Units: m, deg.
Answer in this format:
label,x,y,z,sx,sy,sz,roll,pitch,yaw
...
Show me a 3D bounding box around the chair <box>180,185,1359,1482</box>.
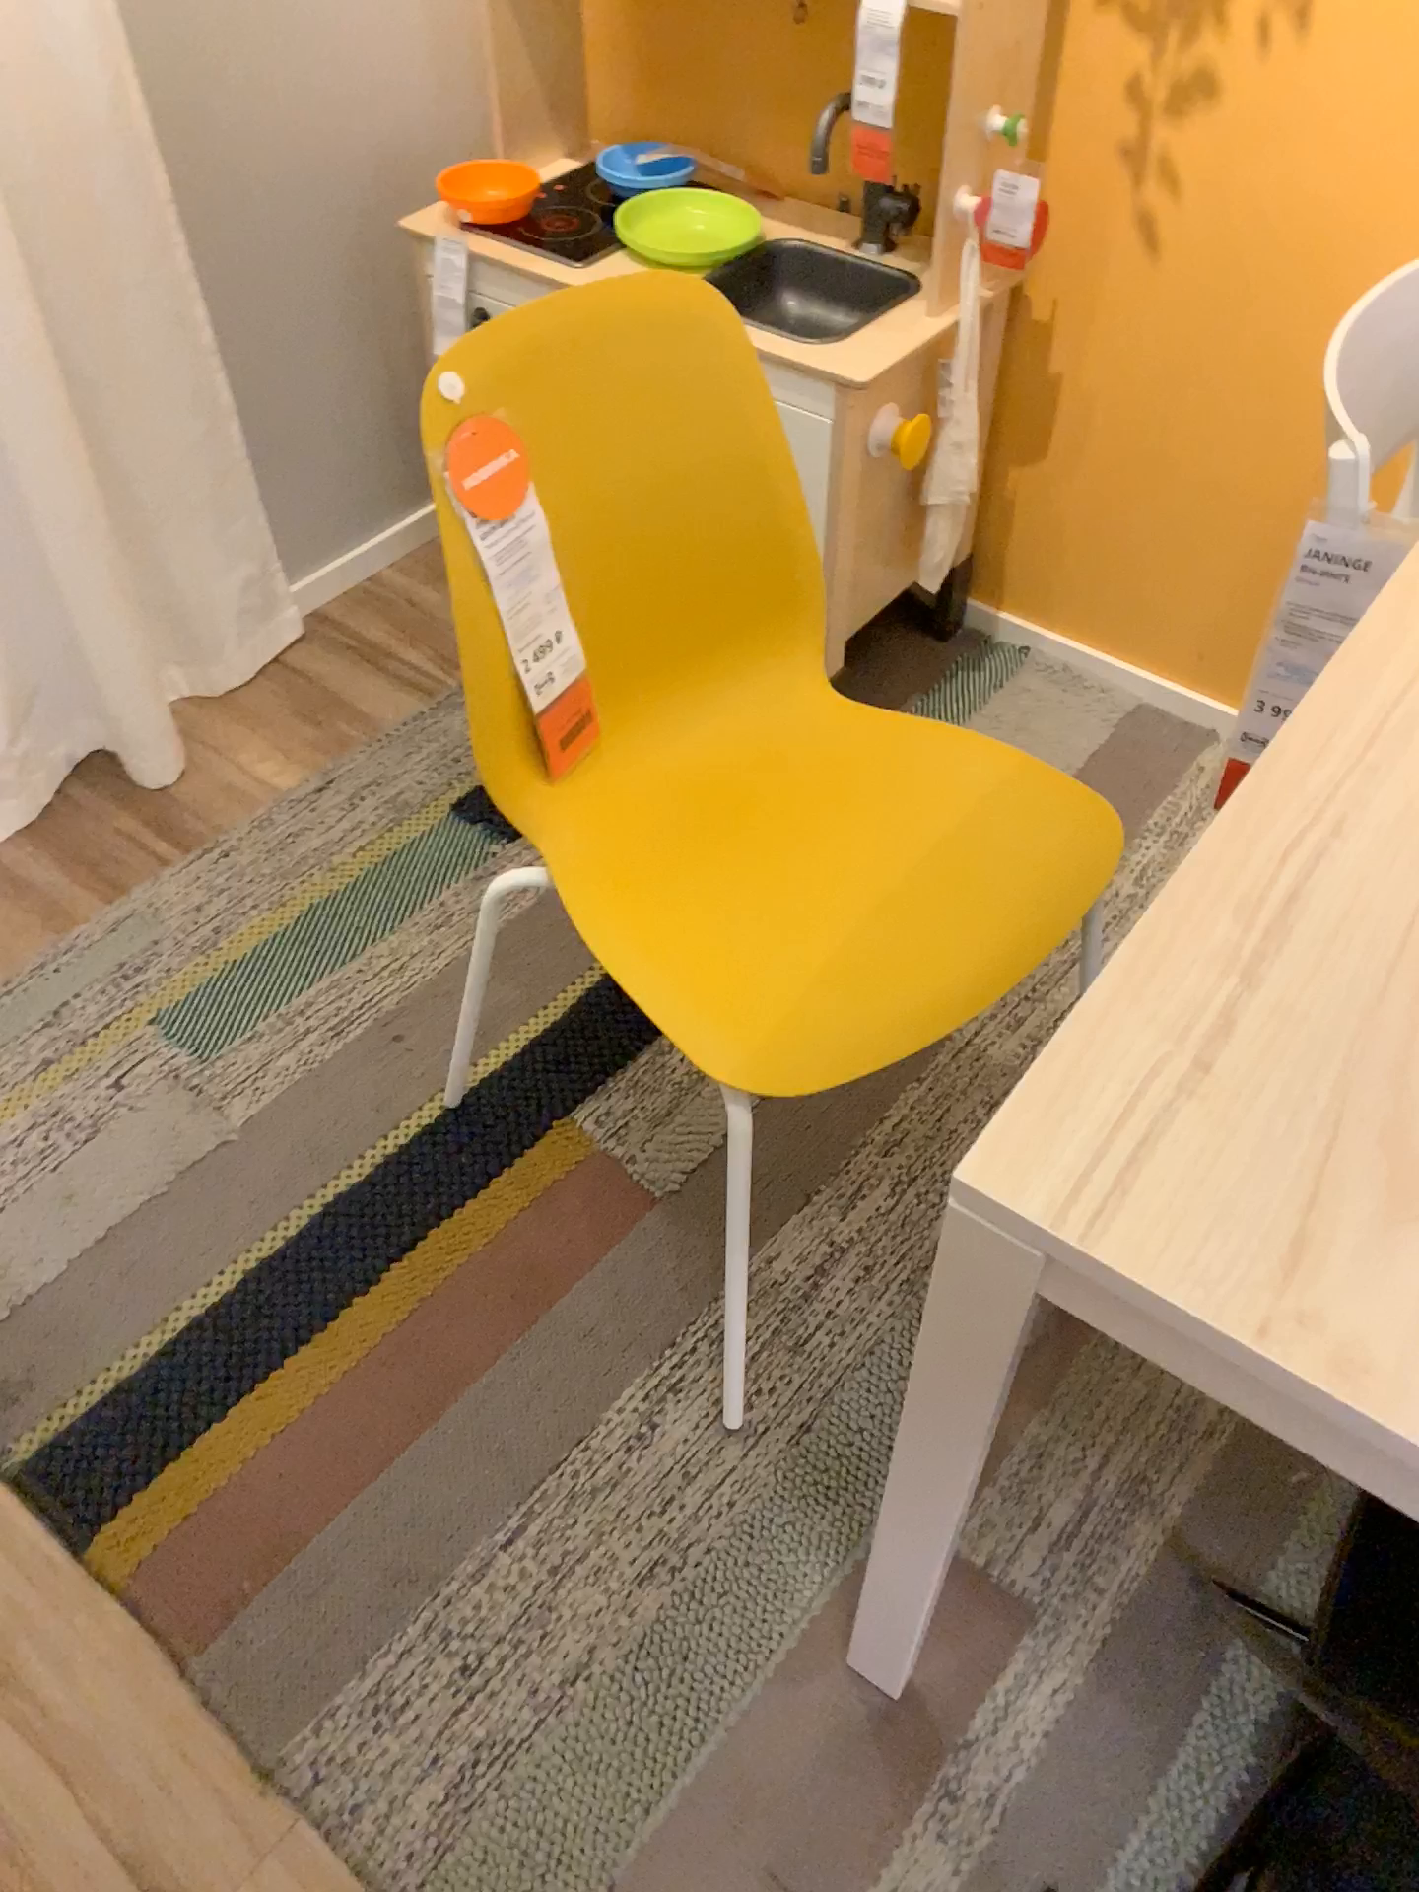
label,x,y,z,sx,sy,sz,roll,pitch,yaw
chair,0.042,-0.083,1.264,0.556,0.809,0.558,36,57,28
